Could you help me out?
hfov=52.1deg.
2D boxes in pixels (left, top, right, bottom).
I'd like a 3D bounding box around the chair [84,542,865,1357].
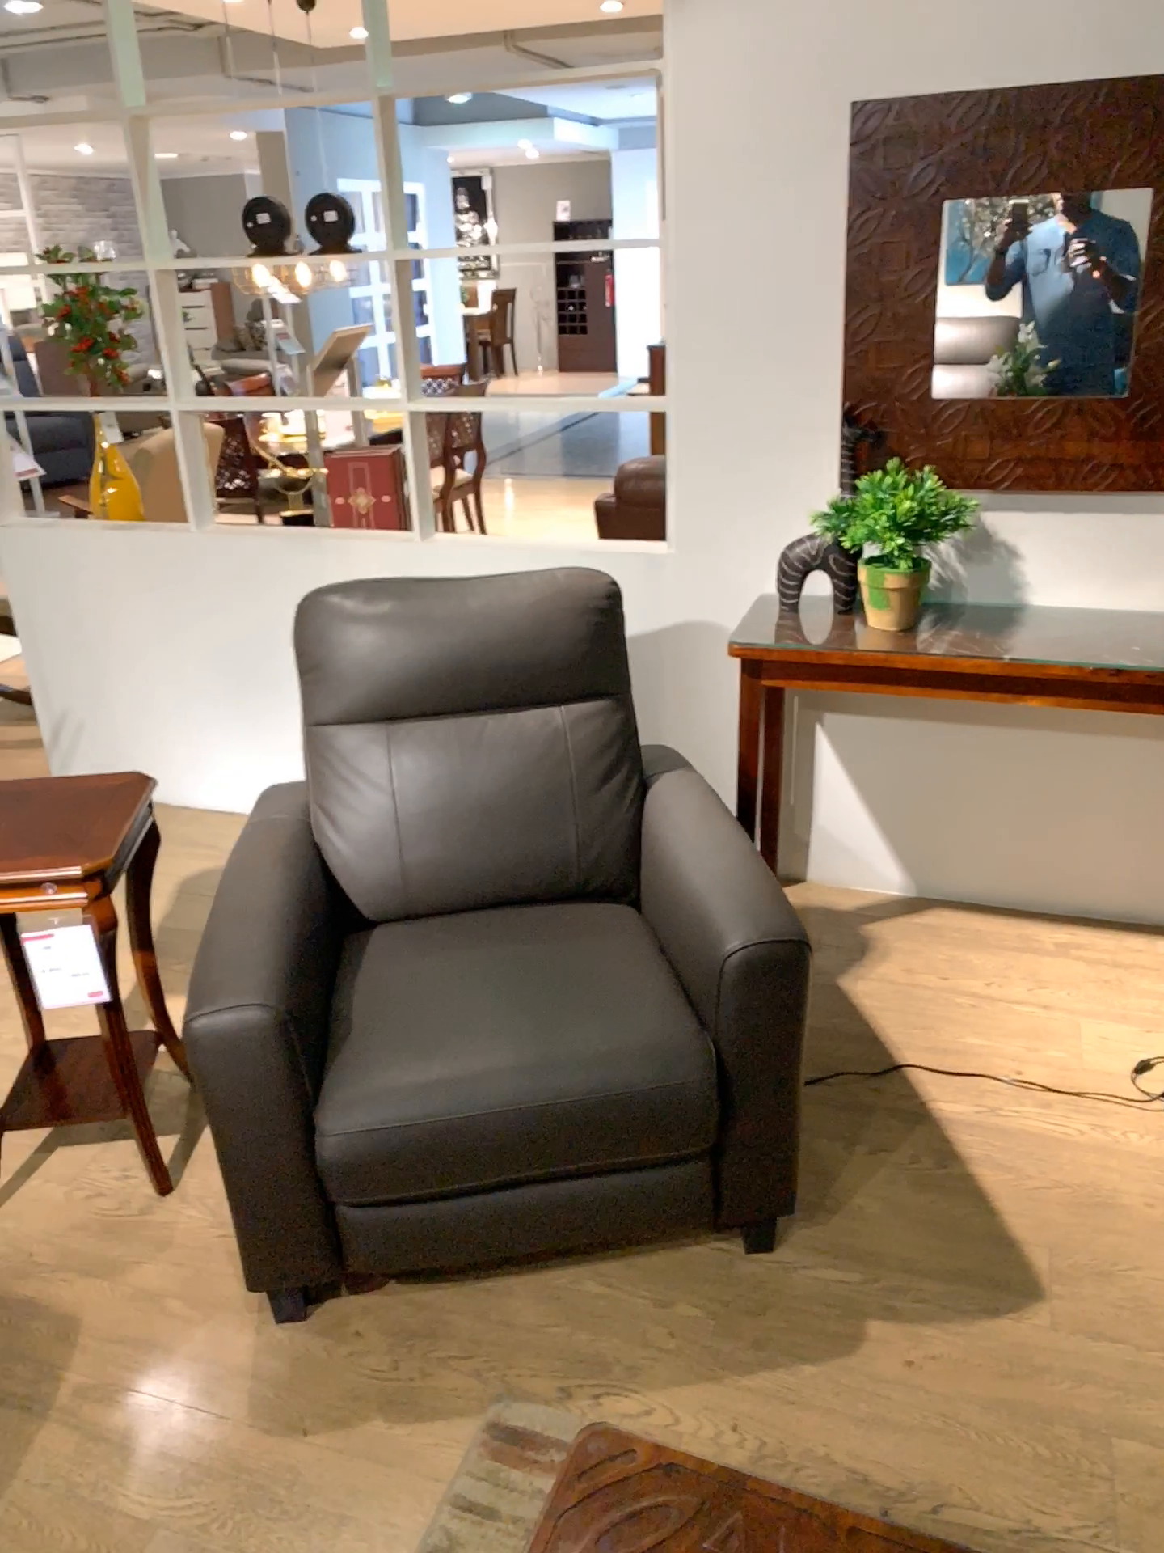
[{"bbox_3d":[-0.162,0.197,2.033,0.940,0.926,0.924,-6,24,-7],"label":"chair"}]
